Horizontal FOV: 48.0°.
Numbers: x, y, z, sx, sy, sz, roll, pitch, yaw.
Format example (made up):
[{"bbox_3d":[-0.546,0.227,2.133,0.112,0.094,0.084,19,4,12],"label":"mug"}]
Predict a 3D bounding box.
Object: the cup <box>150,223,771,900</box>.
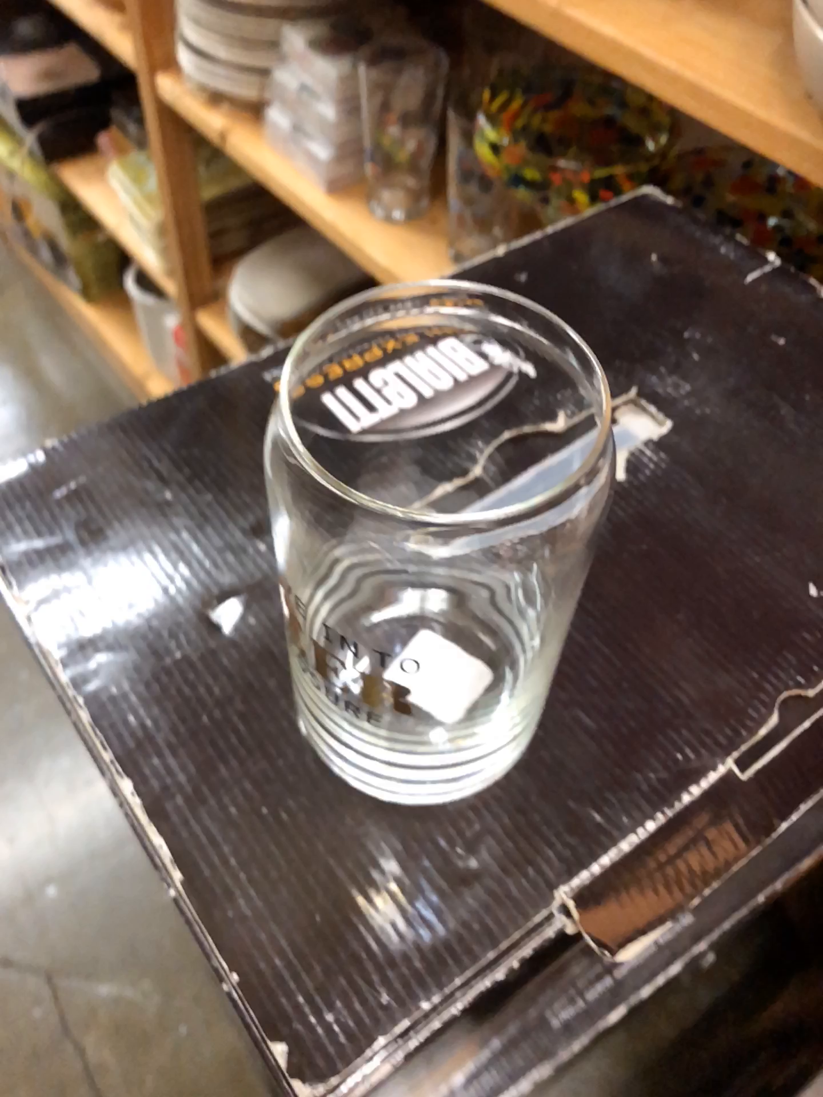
[{"bbox_3d":[0.006,0.006,0.222,0.087,0.116,0.081,2,52,-2],"label":"cup"}]
